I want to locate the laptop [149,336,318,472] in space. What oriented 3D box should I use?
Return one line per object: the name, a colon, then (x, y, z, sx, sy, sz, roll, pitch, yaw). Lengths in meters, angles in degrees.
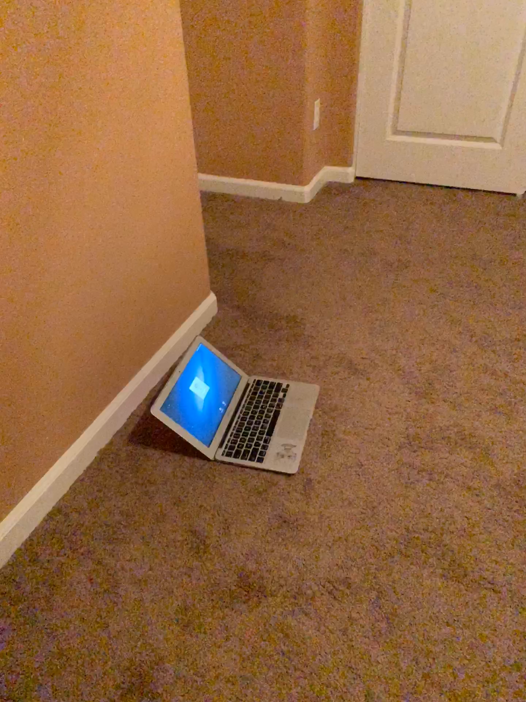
laptop: (-0.053, 0.111, 1.284, 0.324, 0.116, 0.300, 7, 36, 13)
